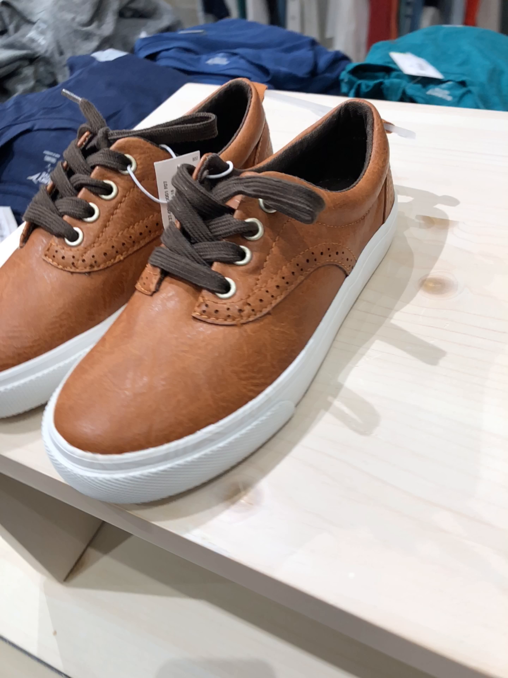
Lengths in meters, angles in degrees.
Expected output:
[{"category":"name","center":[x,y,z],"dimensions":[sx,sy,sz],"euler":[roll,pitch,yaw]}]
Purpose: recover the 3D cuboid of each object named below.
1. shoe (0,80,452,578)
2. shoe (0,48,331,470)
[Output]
[{"category":"shoe","center":[-0.008,-0.025,0.247],"dimensions":[0.090,0.080,0.210],"euler":[26,55,30]},{"category":"shoe","center":[-0.064,-0.057,0.292],"dimensions":[0.090,0.090,0.220],"euler":[30,57,32]}]
